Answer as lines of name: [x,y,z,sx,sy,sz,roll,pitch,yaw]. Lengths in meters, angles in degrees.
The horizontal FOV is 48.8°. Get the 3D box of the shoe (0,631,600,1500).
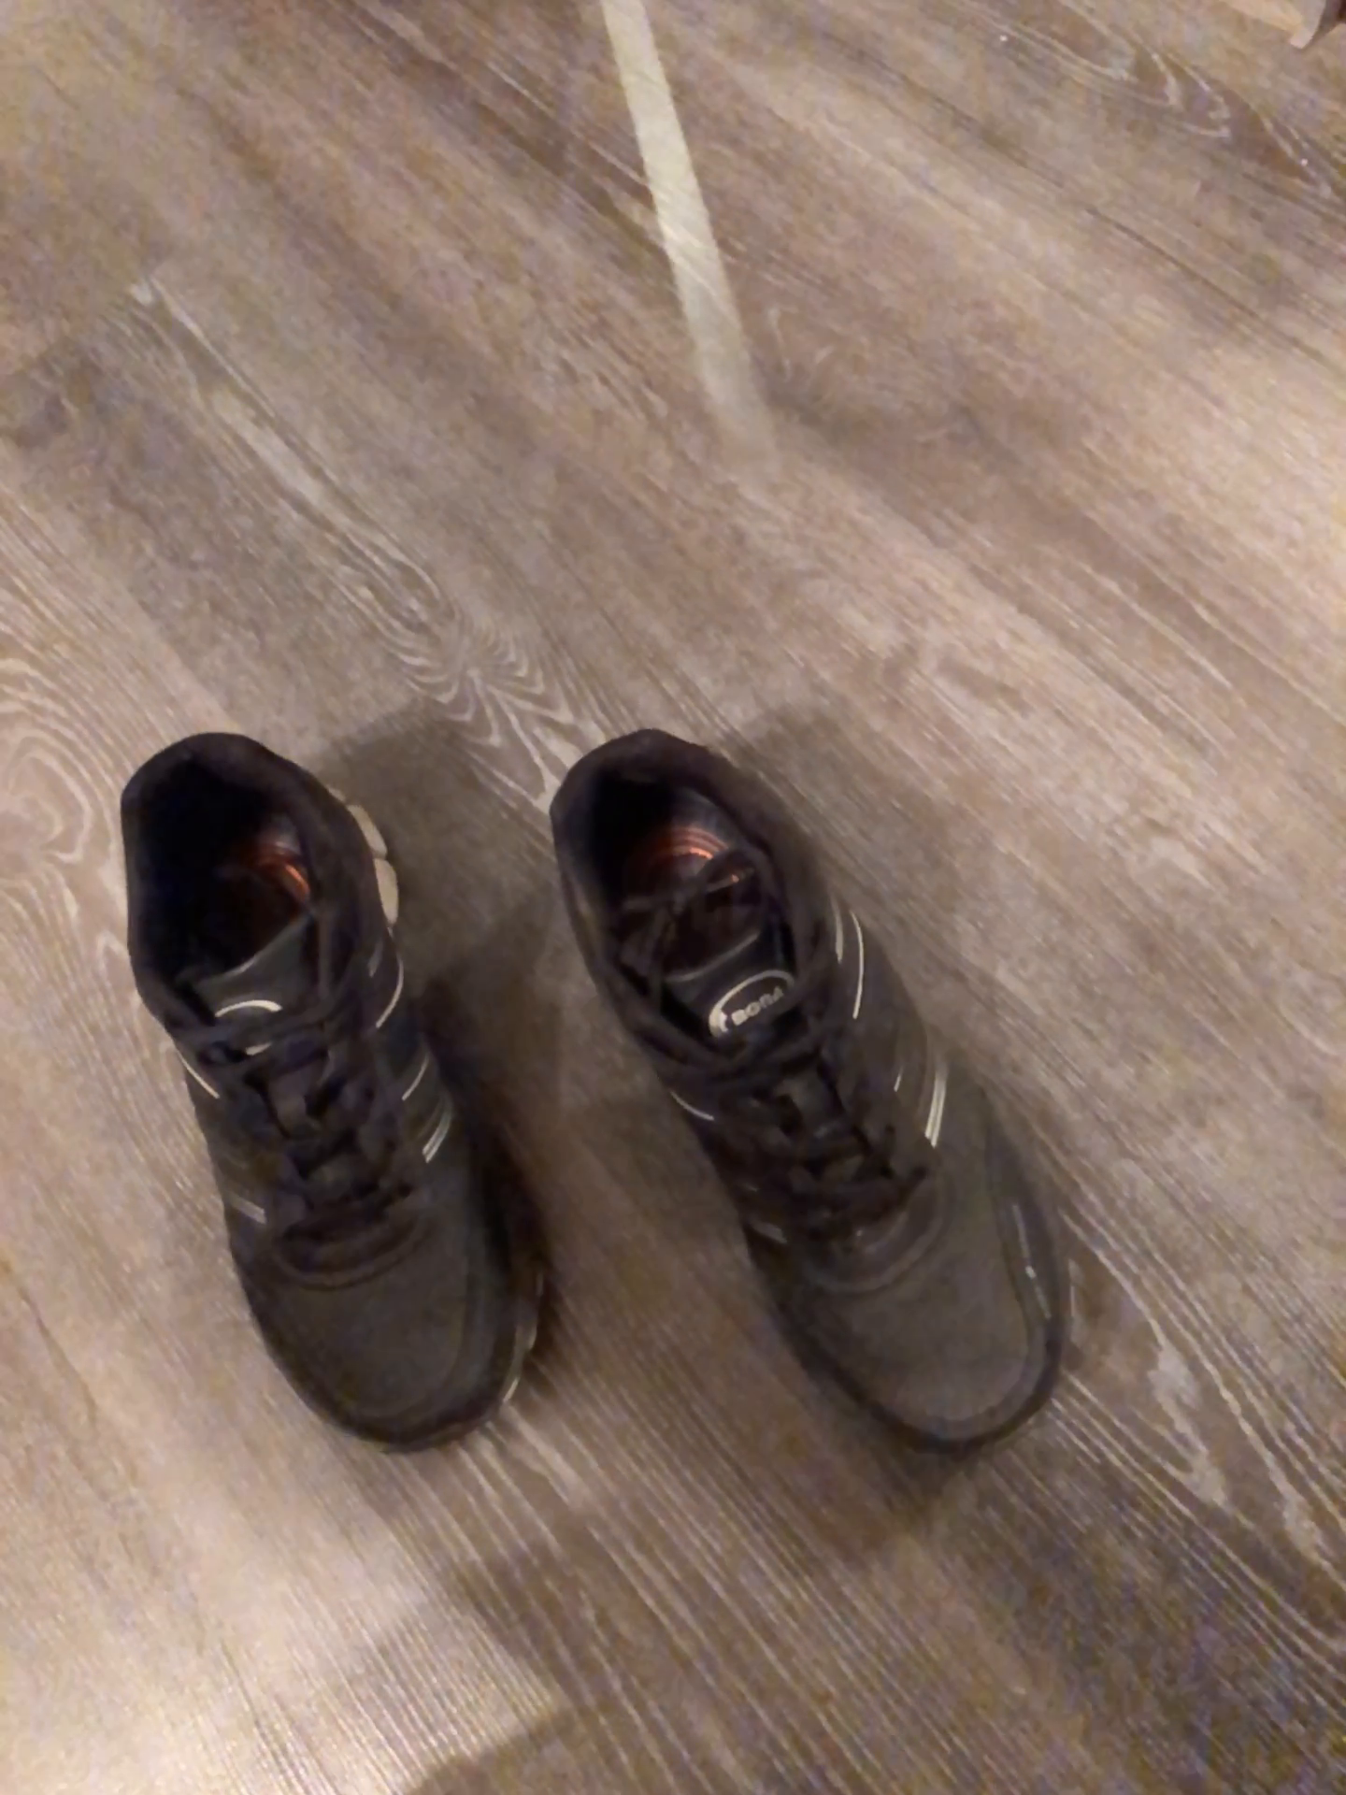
shoe: [-0.125,0.052,0.490,0.100,0.090,0.251,-25,67,0]

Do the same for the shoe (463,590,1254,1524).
shoe: [0.050,0.047,0.479,0.110,0.100,0.261,-30,67,-2]
